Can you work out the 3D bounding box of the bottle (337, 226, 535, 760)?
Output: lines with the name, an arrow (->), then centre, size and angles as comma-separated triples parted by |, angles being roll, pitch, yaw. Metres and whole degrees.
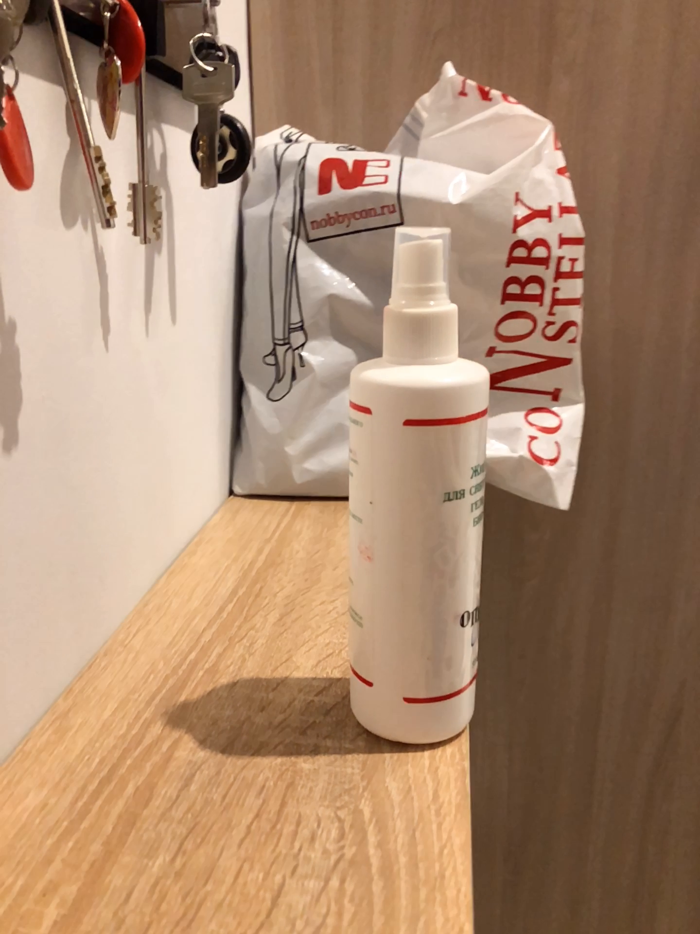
bottle -> 0.032, 0.008, 0.284 | 0.059, 0.183, 0.056 | -1, 16, 0
